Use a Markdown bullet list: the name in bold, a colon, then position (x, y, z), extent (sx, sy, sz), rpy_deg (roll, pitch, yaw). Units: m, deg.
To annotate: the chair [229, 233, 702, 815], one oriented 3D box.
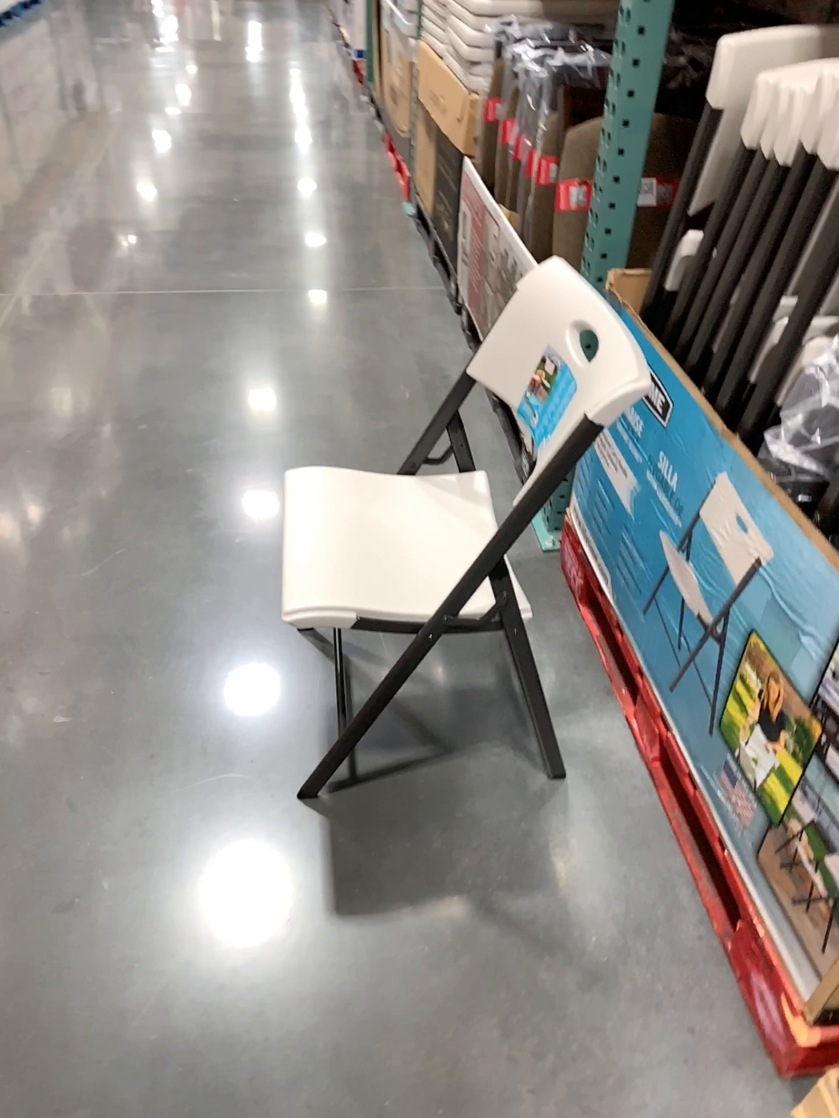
- **chair**: position (0.013, -0.063, 1.489), extent (0.574, 0.806, 0.568), rpy_deg (-3, 39, -7)
